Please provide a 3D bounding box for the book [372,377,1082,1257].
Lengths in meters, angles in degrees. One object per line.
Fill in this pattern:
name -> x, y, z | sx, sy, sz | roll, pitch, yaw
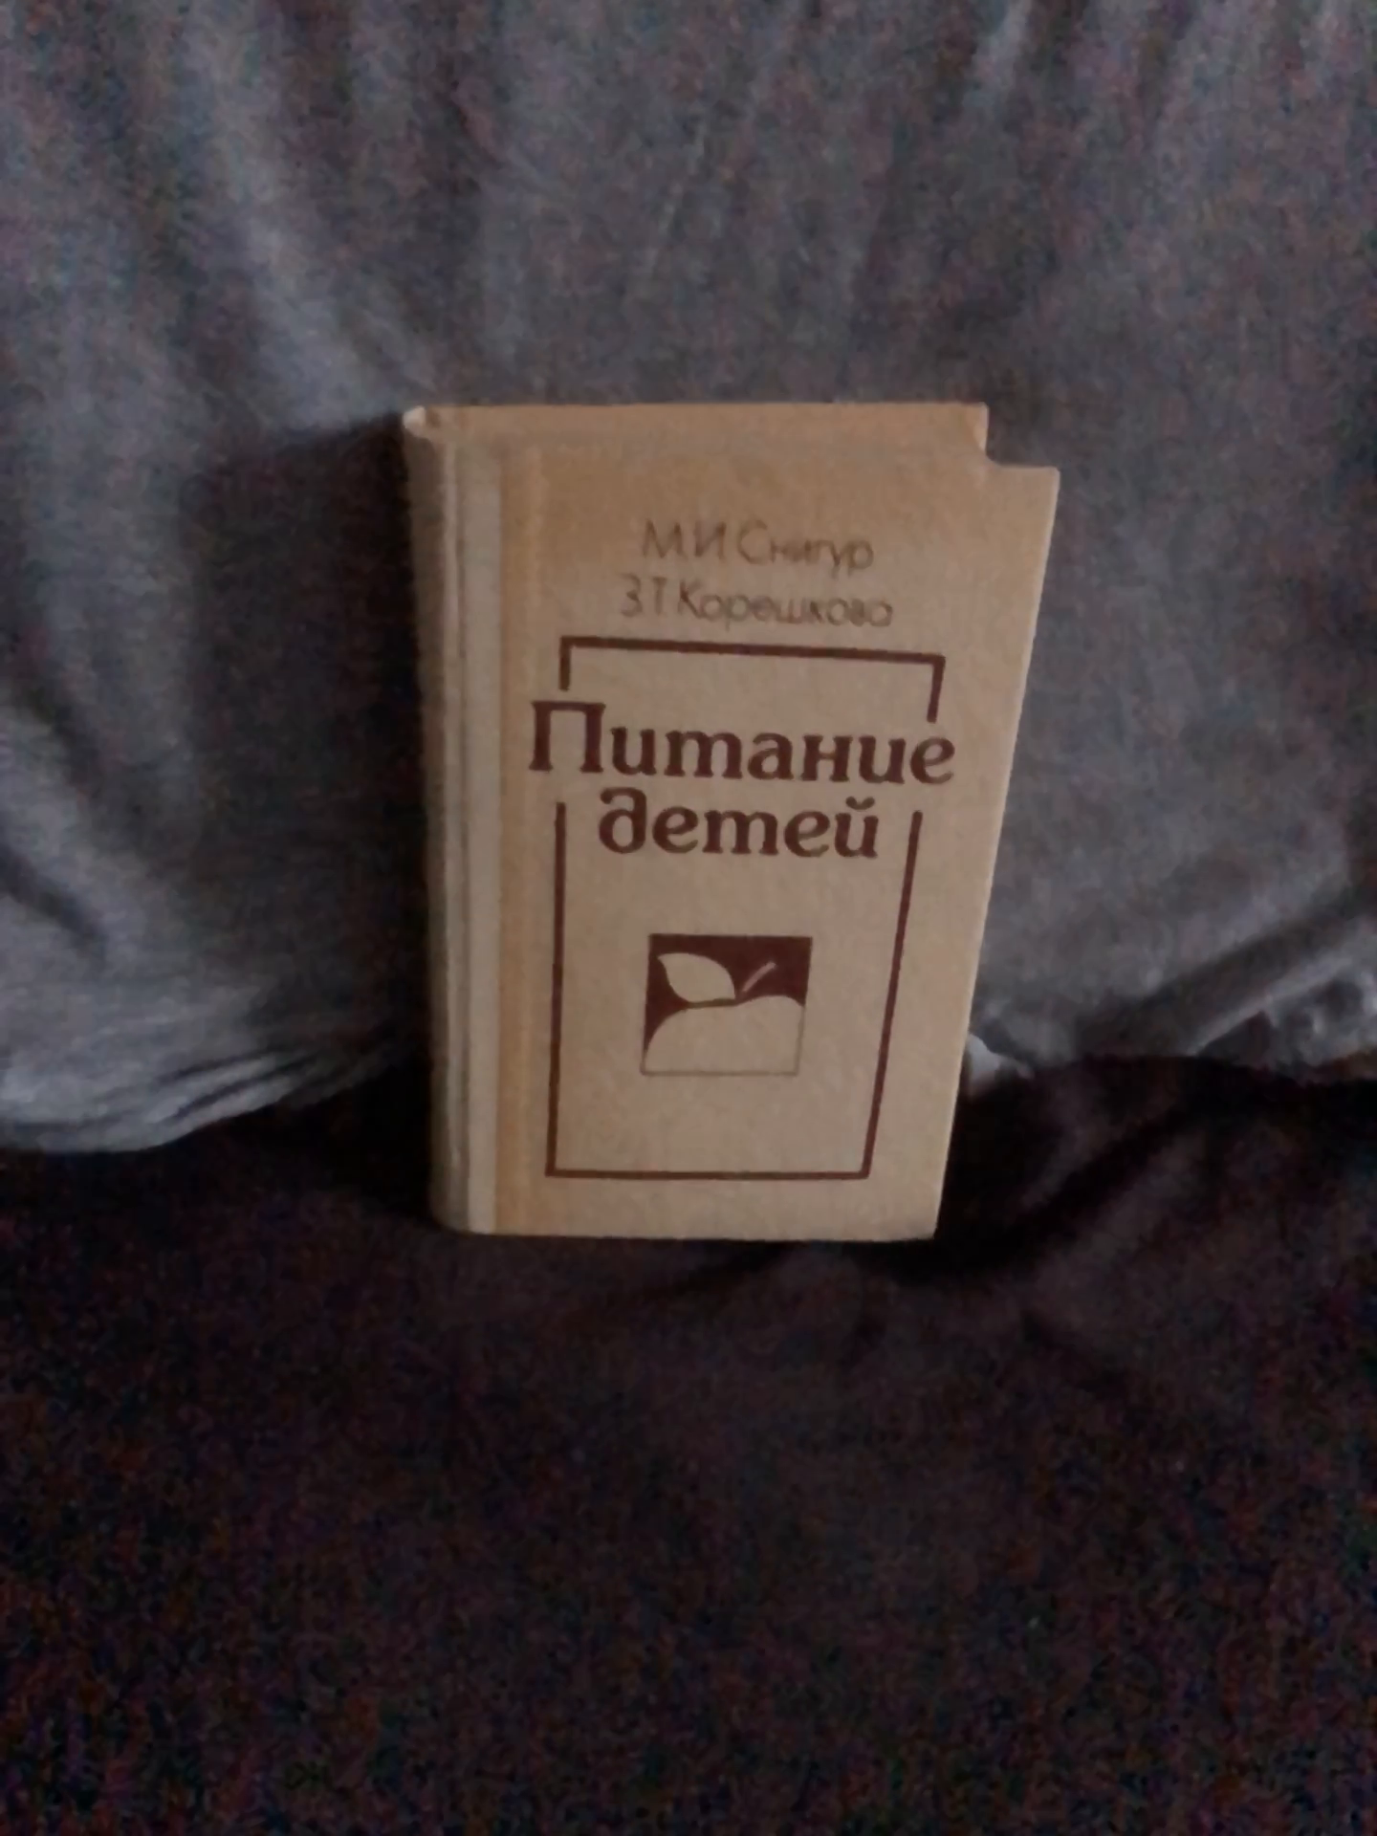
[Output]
book -> 0.005, -0.014, 0.378 | 0.144, 0.219, 0.041 | 0, 29, -3
